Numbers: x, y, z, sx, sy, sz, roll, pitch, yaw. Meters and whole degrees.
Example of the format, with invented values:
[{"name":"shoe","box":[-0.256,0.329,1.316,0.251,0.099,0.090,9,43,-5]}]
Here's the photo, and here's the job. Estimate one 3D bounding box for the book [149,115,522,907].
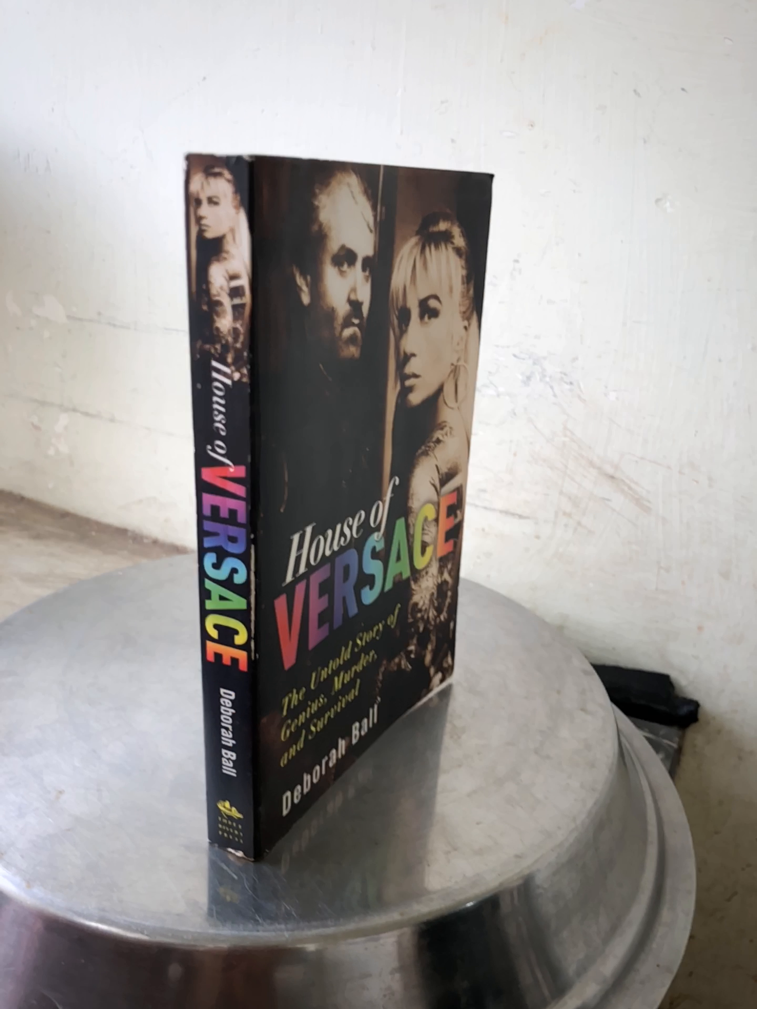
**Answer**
[{"name":"book","box":[-0.007,-0.009,0.309,0.040,0.219,0.181,13,19,23]}]
